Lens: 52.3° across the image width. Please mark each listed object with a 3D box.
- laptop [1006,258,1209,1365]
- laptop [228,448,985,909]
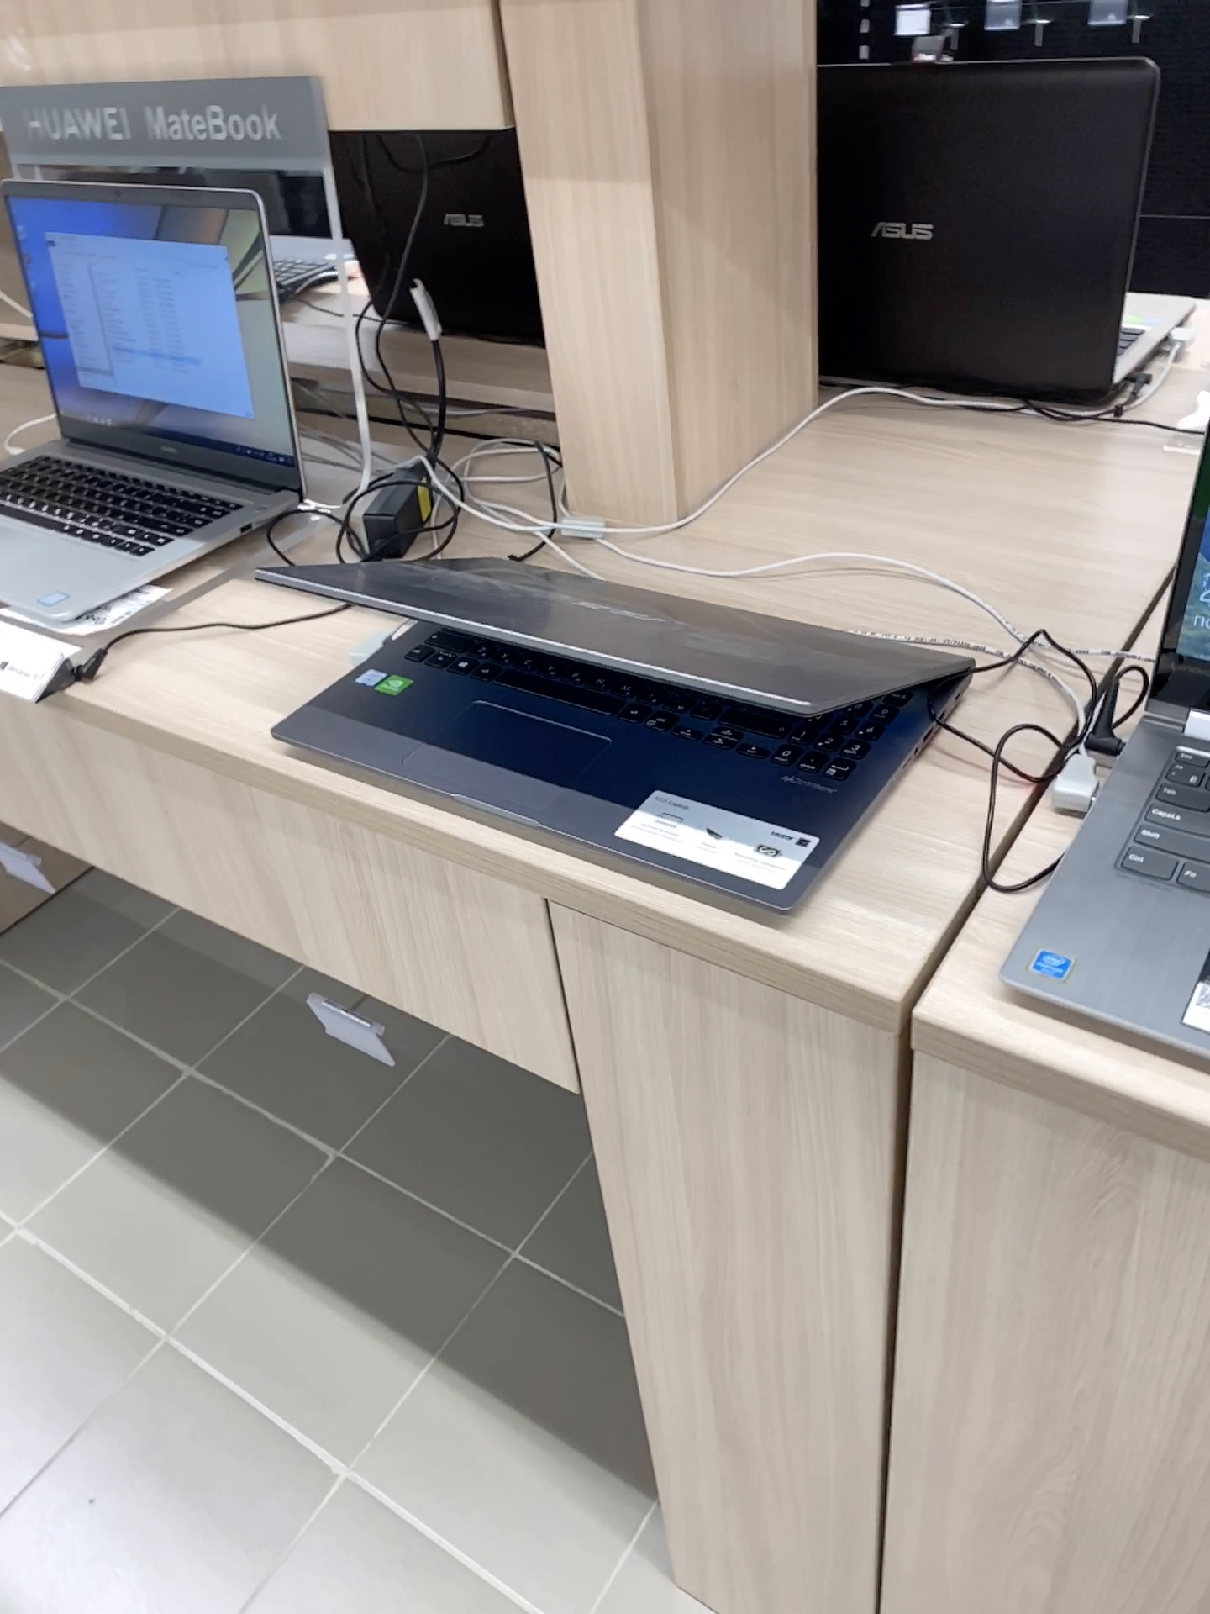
[{"bbox_3d":[0.379,-0.044,0.463,0.352,0.222,0.259,17,44,29],"label":"laptop"},{"bbox_3d":[0.000,-0.100,0.715,0.355,0.097,0.230,18,43,30],"label":"laptop"}]
